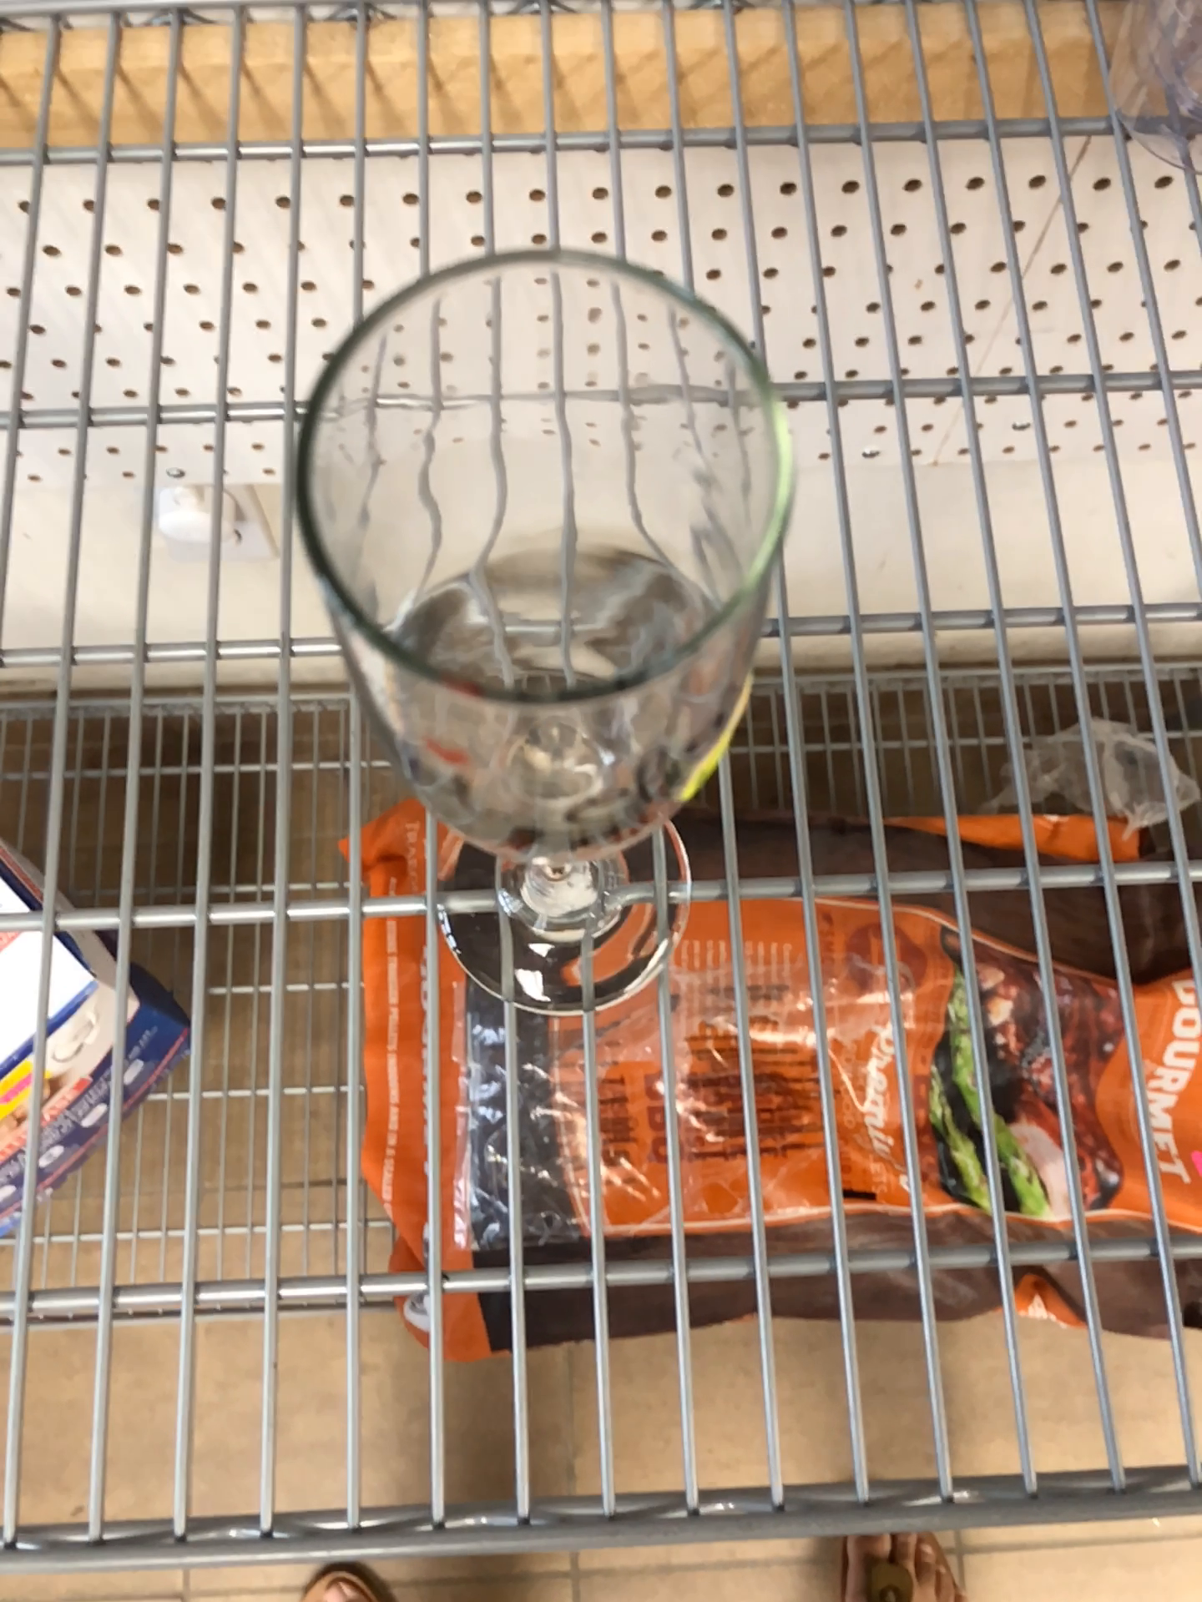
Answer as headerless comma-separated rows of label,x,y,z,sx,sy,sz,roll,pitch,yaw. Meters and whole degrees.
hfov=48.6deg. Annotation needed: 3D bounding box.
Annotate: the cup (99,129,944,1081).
cup,-0.012,-0.002,0.231,0.070,0.210,0.069,0,73,-1
